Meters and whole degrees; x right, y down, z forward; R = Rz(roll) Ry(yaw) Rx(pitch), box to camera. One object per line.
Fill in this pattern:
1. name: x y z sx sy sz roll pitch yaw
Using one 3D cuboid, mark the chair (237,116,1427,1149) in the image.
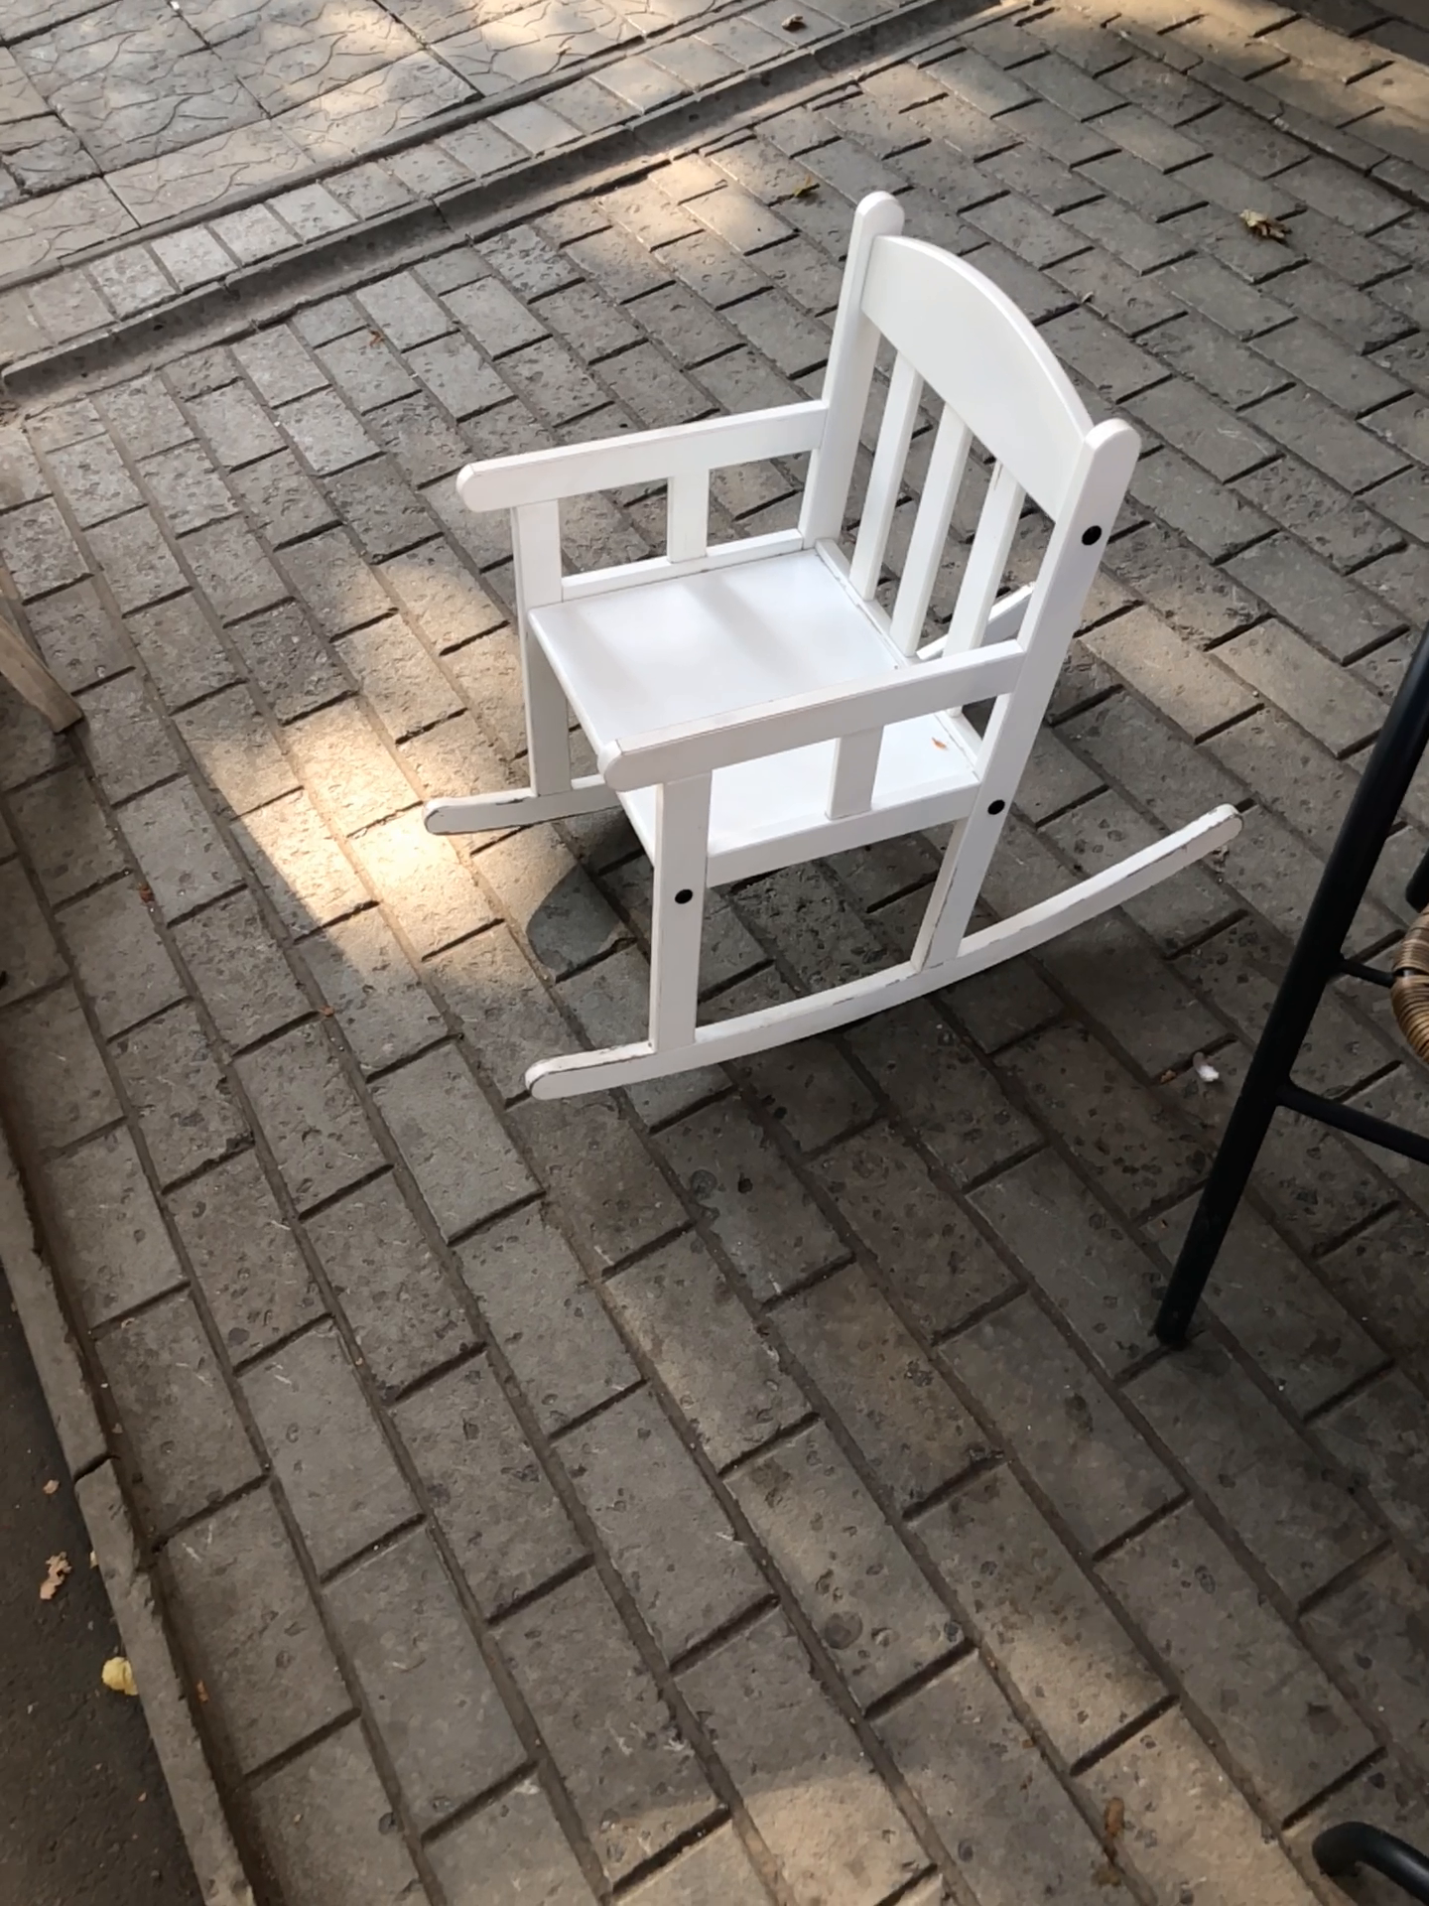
1. chair: 0.083 -0.254 1.285 0.730 0.518 0.381 -20 53 -9
